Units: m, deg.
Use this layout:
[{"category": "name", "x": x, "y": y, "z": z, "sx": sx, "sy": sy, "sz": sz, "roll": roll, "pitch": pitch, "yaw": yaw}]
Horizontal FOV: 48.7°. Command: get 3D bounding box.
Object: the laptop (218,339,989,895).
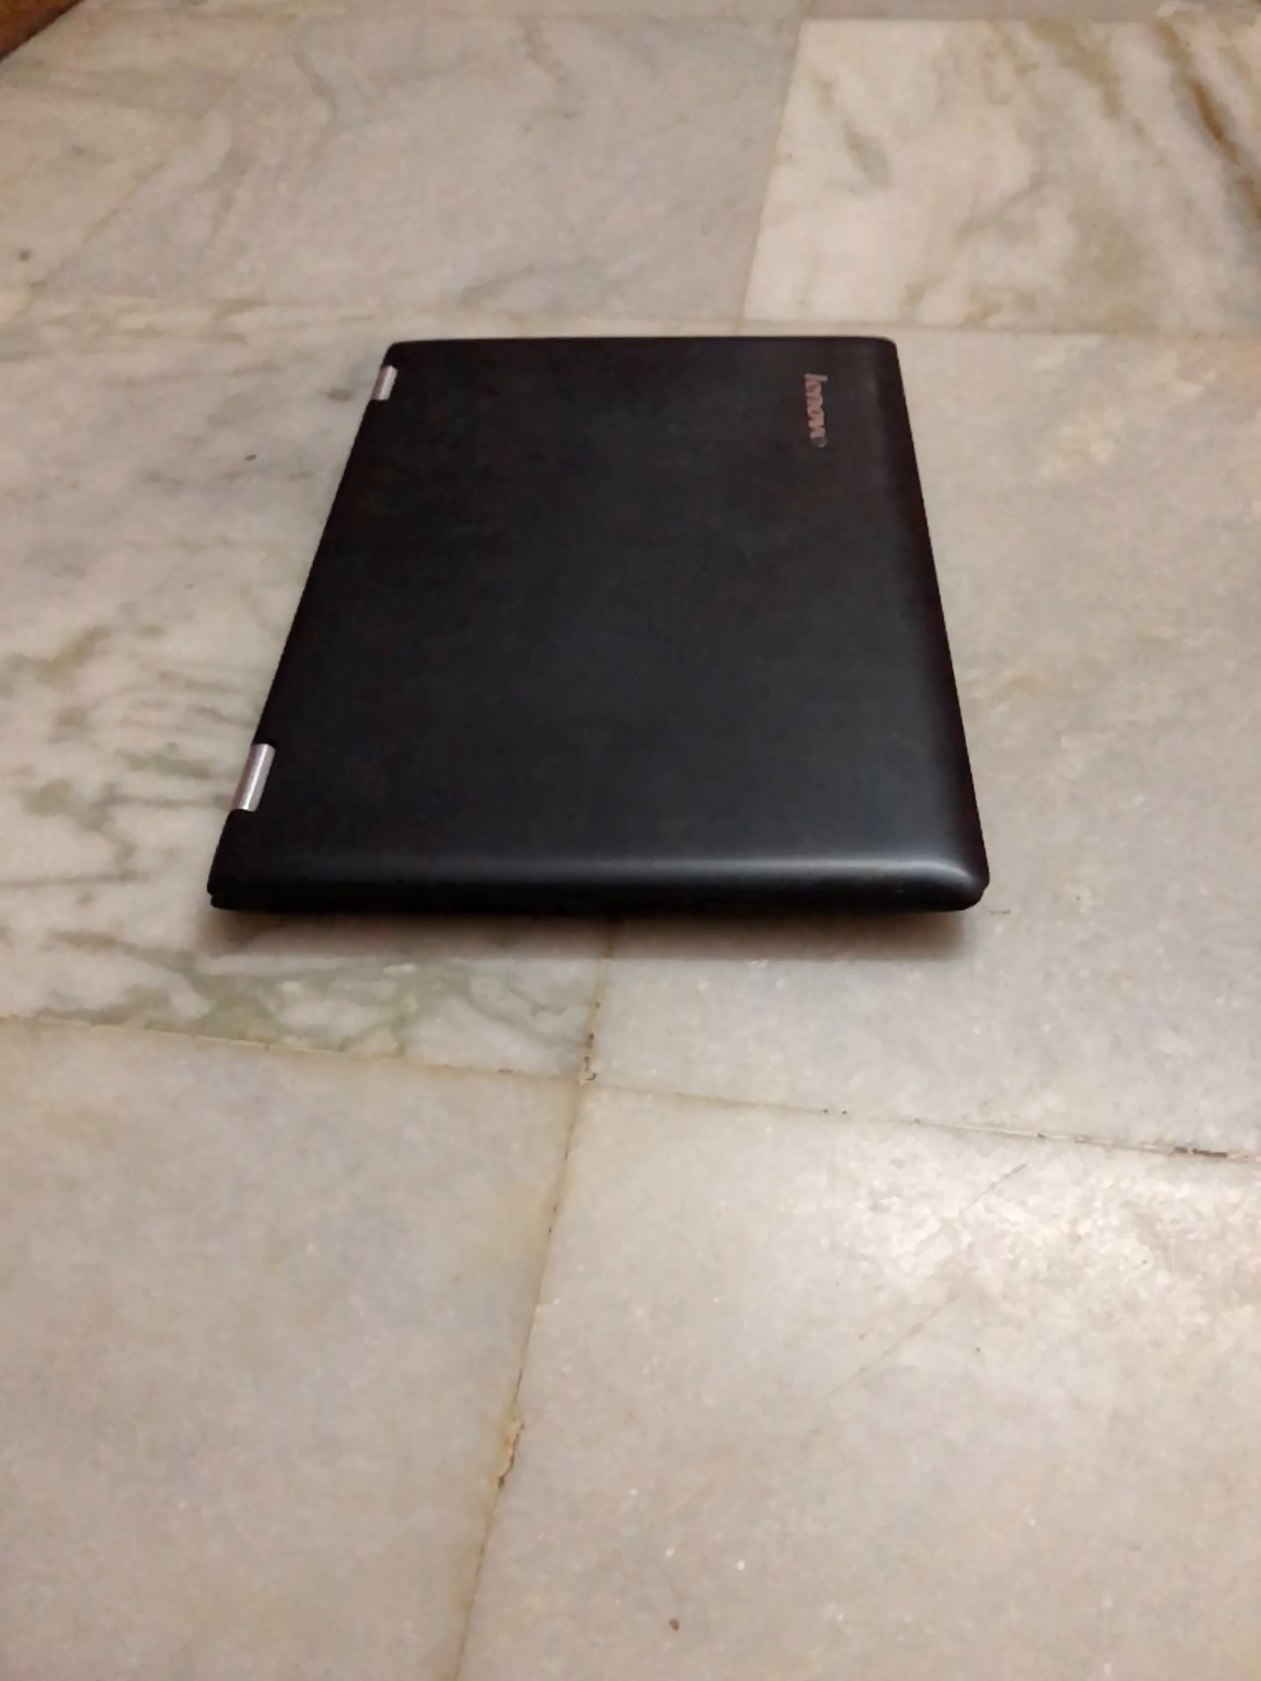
[{"category": "laptop", "x": -0.001, "y": -0.106, "z": 0.516, "sx": 0.222, "sy": 0.002, "sz": 0.330, "roll": 1, "pitch": 46, "yaw": 3}]
